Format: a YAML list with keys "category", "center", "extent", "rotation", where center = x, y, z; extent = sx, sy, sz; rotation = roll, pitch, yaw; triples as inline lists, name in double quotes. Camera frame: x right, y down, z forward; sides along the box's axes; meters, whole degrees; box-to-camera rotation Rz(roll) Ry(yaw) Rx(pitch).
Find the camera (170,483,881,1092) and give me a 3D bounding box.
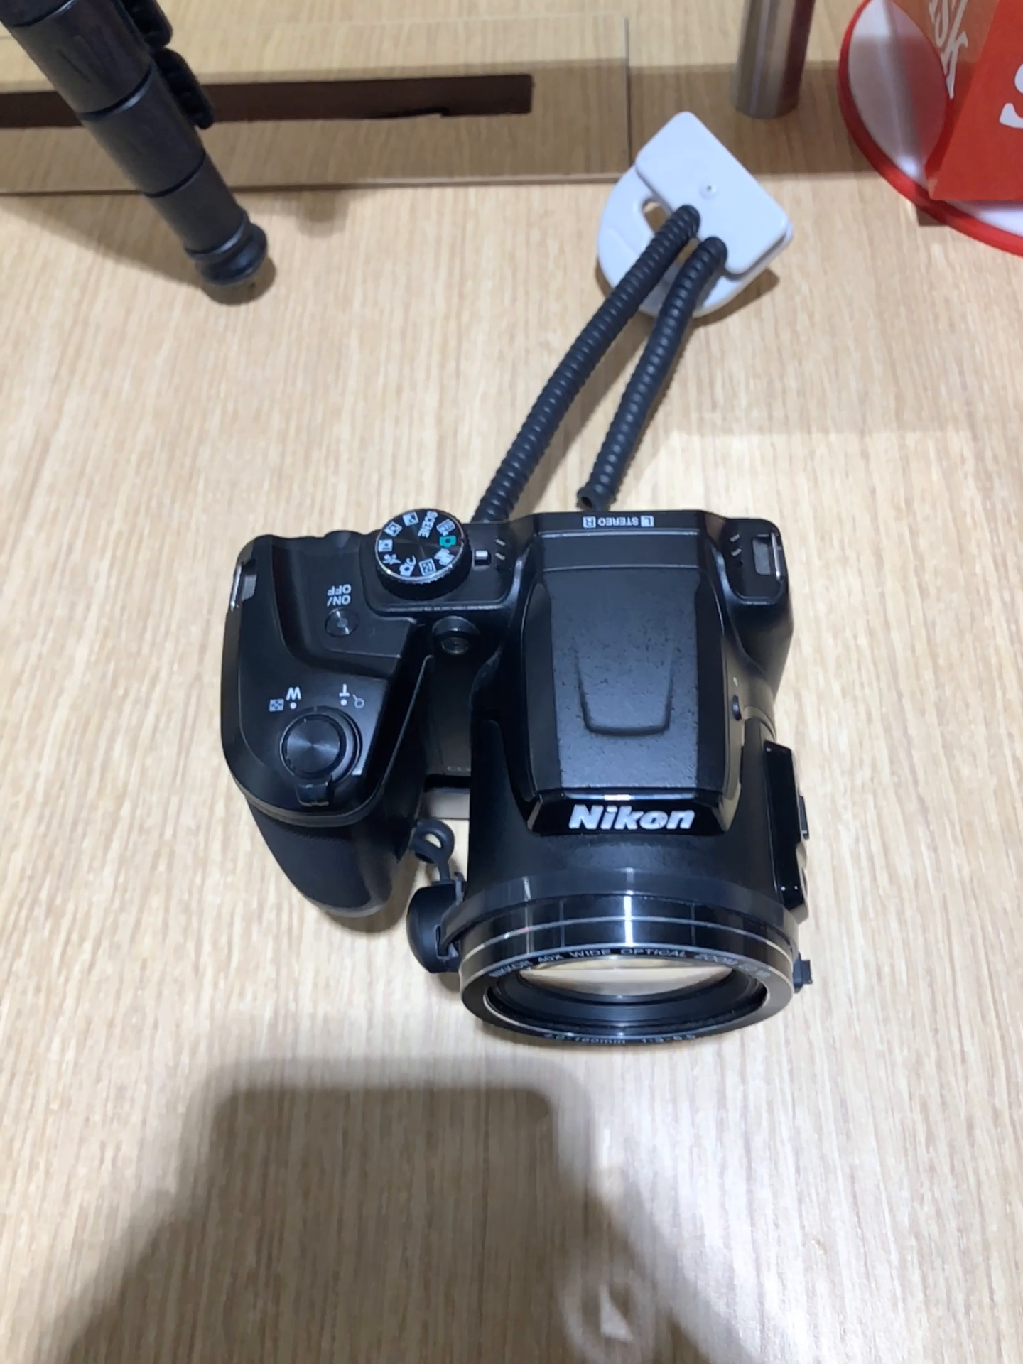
- category: "camera"
  center: [0.003, 0.023, 0.218]
  extent: [0.103, 0.070, 0.093]
  rotation: [-2, 61, 2]
